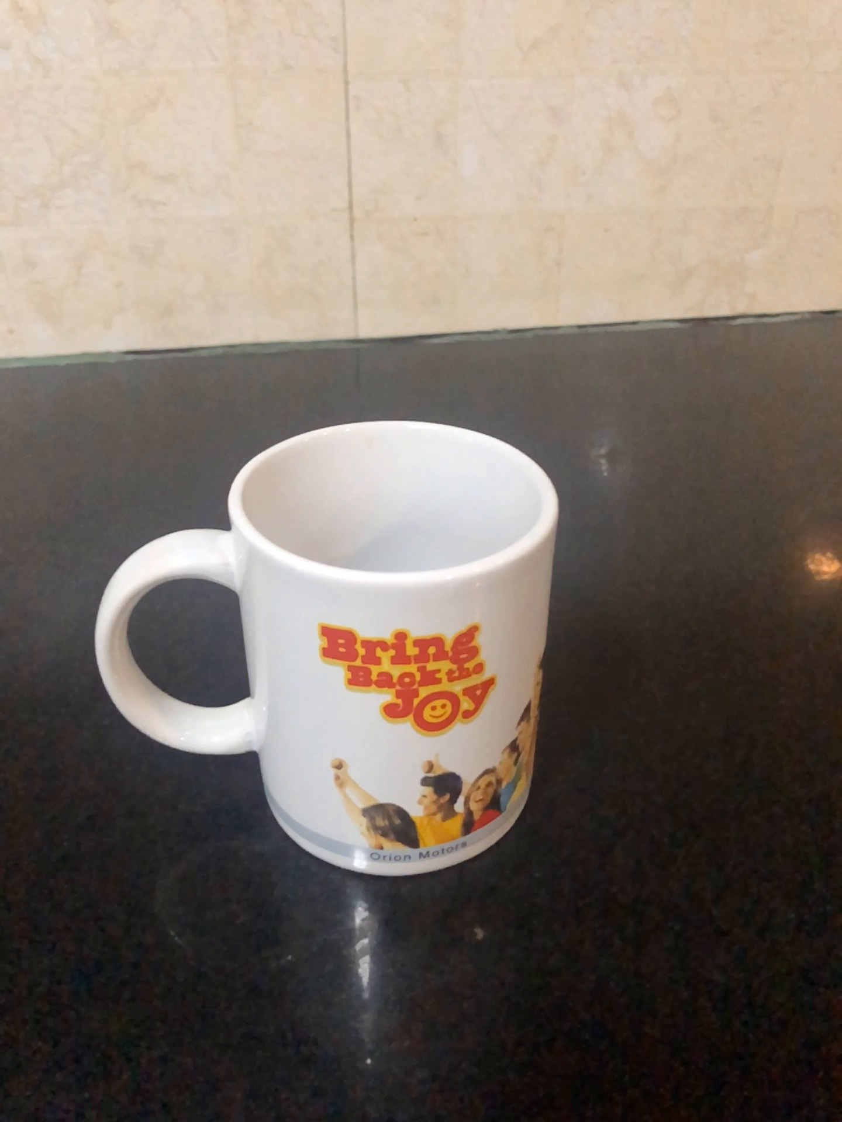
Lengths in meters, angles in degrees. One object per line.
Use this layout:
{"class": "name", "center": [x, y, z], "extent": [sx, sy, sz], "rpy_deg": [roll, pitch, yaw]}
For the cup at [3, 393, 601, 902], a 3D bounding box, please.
{"class": "cup", "center": [-0.026, 0.020, 0.250], "extent": [0.120, 0.099, 0.081], "rpy_deg": [-3, 33, -4]}
